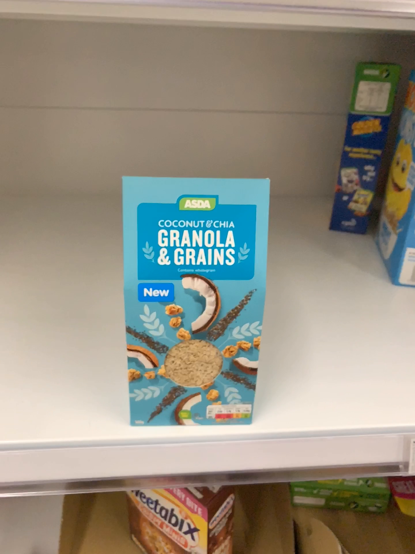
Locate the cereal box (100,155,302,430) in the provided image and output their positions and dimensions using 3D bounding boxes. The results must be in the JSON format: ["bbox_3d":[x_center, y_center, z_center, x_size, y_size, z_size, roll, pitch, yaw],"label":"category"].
[{"bbox_3d":[-0.009,0.022,0.385,0.140,0.238,0.071,1,28,-2],"label":"cereal box"}]
